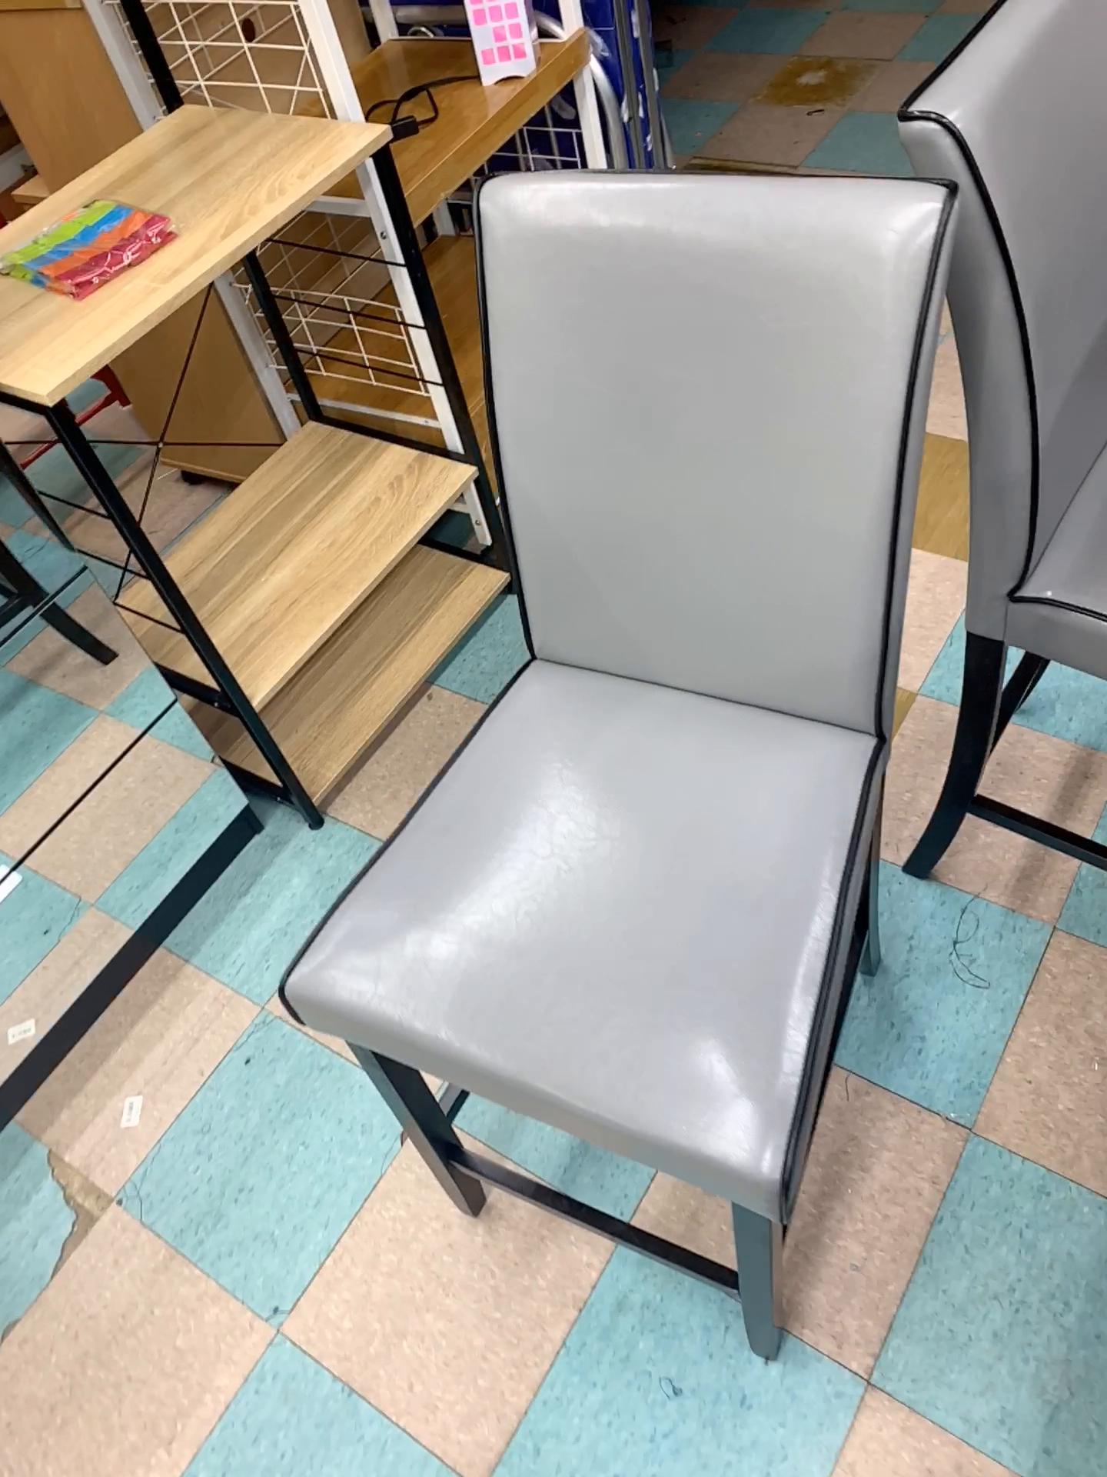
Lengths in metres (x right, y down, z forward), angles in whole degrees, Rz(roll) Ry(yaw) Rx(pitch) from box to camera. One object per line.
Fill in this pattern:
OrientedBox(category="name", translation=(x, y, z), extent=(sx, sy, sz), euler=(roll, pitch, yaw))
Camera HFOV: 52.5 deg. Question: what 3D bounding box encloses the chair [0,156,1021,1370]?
OrientedBox(category="chair", translation=(0.063, 0.087, 1.017), extent=(0.451, 0.931, 0.561), euler=(15, 56, 24))
